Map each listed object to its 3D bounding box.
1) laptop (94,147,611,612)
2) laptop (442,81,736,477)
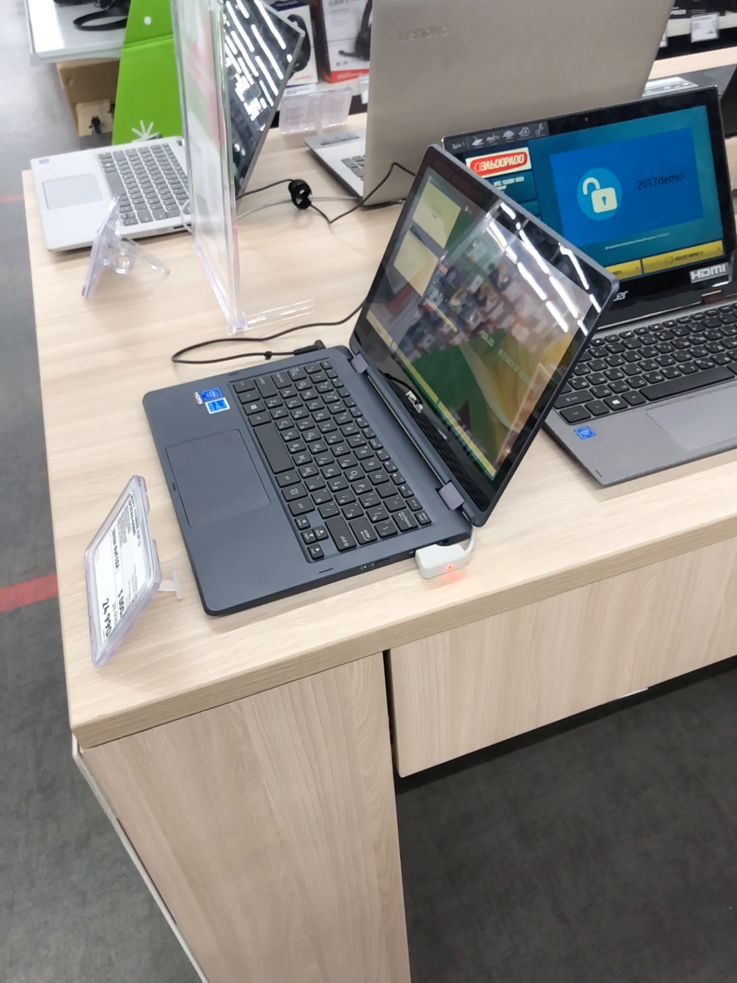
[{"bbox_3d":[-0.026,-0.105,0.611,0.280,0.166,0.271,-16,44,-13],"label":"laptop"},{"bbox_3d":[0.245,-0.199,0.687,0.261,0.162,0.300,-16,44,-12],"label":"laptop"}]
